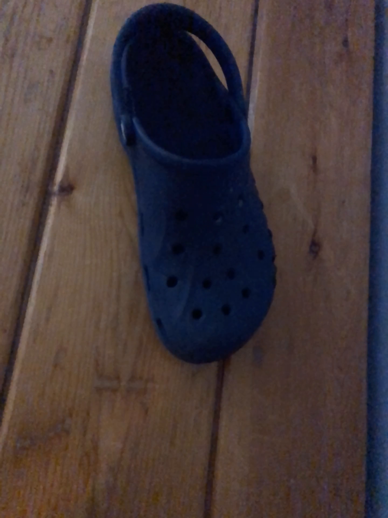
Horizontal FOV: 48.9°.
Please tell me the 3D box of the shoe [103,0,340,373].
[{"bbox_3d":[0.010,-0.066,0.353,0.130,0.080,0.290,-6,79,-17],"label":"shoe"}]
